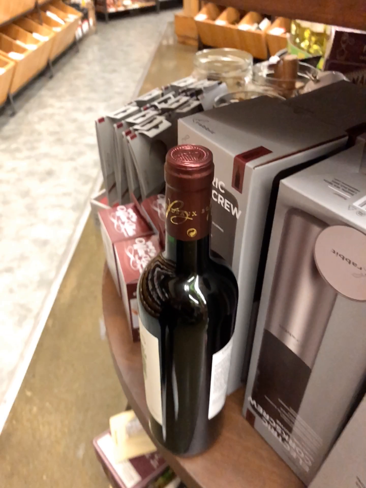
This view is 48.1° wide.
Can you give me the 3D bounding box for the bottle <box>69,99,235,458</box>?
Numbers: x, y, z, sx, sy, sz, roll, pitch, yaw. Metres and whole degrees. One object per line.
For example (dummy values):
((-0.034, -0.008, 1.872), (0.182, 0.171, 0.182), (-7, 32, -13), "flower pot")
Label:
((-0.009, 0.052, 0.319), (0.080, 0.299, 0.080), (-1, 38, 1), "bottle")
